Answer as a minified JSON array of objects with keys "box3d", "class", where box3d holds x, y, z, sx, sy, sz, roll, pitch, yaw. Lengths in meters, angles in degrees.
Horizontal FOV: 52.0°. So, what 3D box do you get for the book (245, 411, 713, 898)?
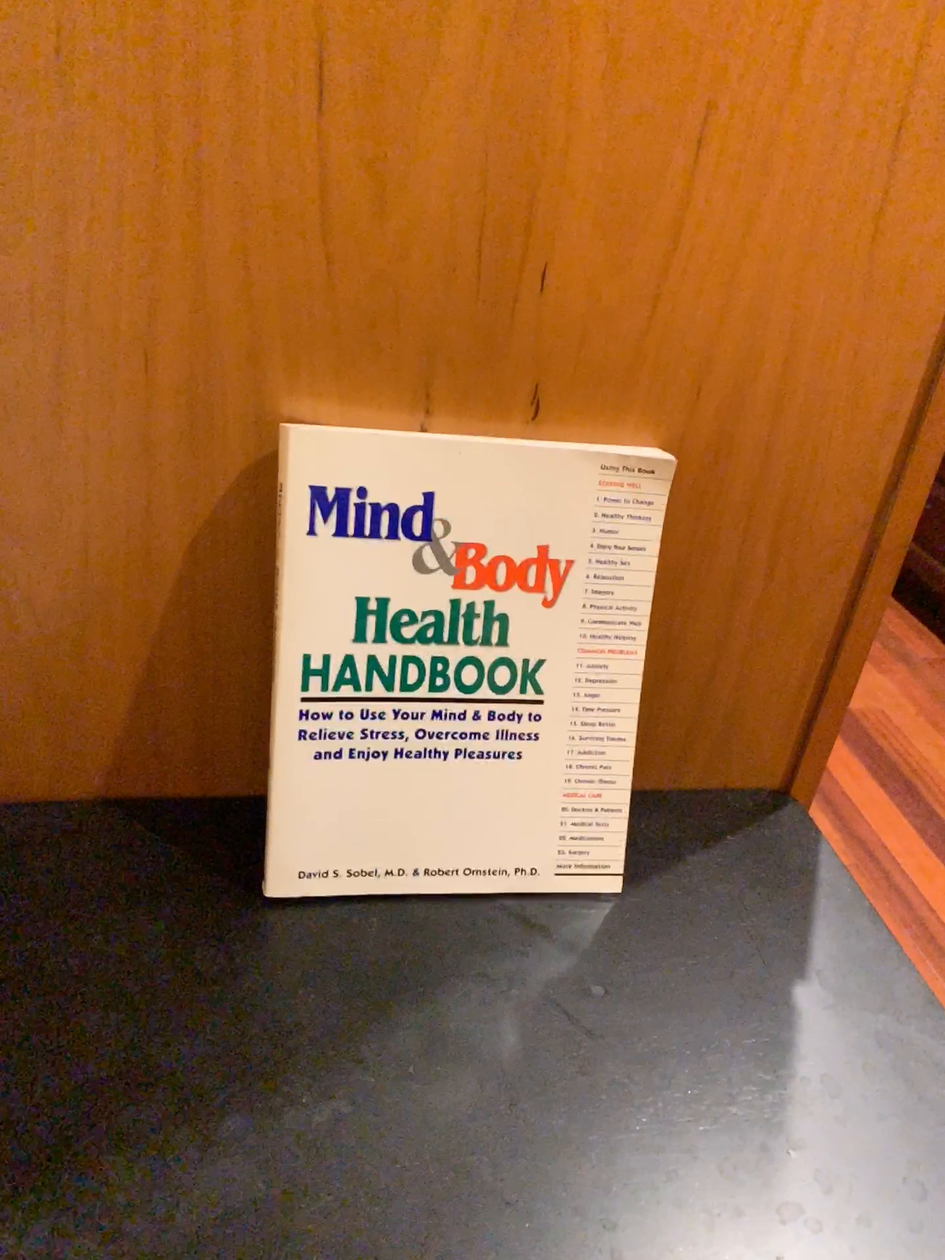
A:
[{"box3d":[-0.001,0.016,0.484,0.210,0.229,0.040,2,11,-11],"class":"book"}]
